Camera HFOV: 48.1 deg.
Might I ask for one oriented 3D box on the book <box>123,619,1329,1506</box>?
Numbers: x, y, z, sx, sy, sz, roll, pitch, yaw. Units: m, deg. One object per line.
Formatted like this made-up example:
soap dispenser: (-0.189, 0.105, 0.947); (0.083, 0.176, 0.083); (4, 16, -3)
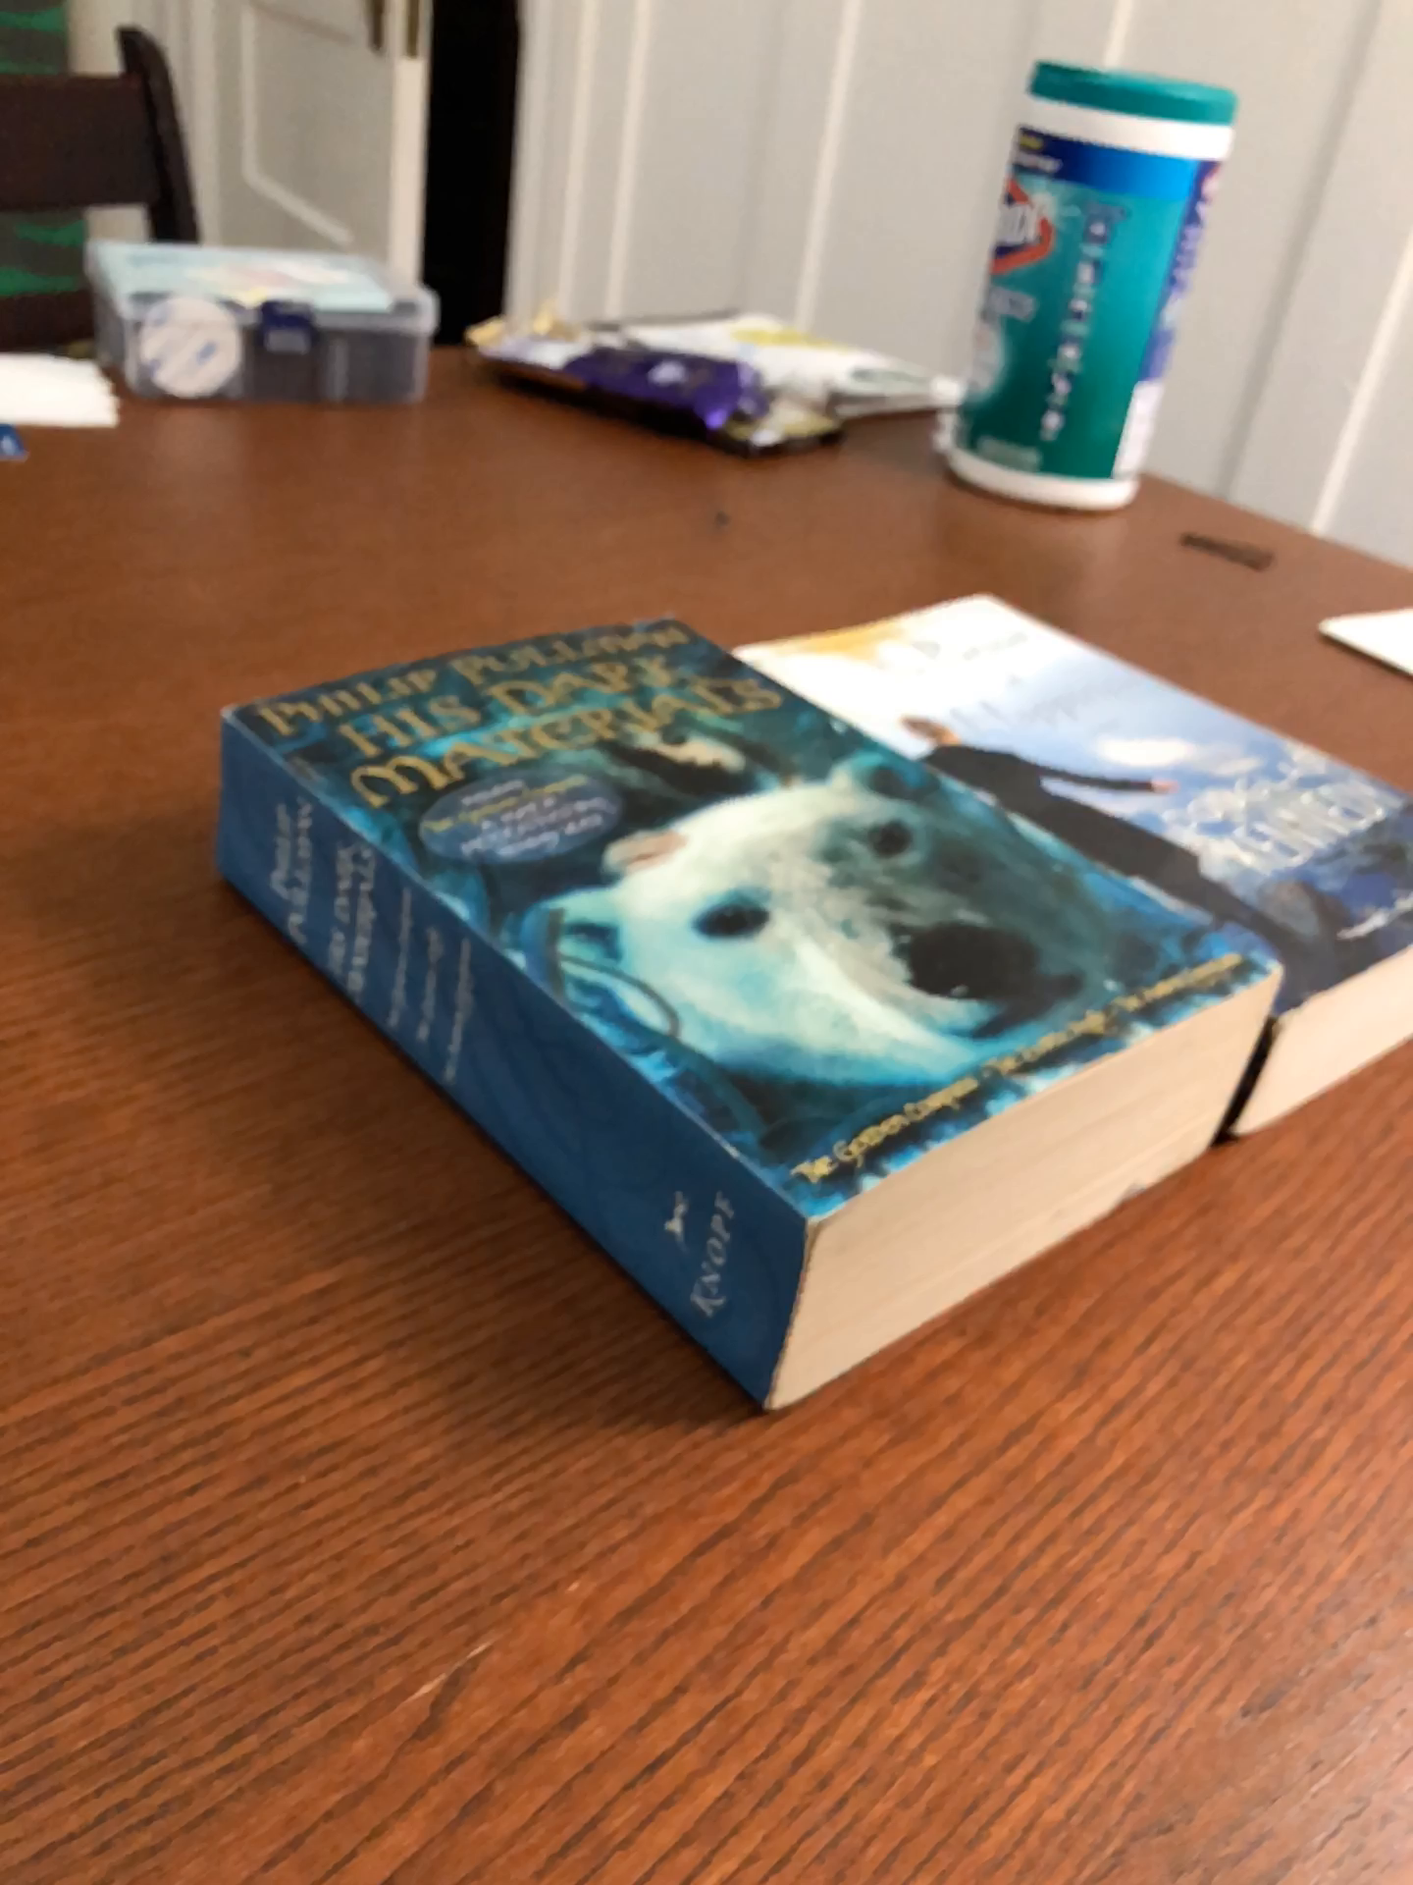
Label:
book: (-0.006, -0.002, 0.403); (0.181, 0.050, 0.251); (-19, 41, -38)

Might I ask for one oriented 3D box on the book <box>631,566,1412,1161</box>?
book: (0.126, -0.047, 0.500); (0.181, 0.040, 0.251); (-19, 41, -38)
